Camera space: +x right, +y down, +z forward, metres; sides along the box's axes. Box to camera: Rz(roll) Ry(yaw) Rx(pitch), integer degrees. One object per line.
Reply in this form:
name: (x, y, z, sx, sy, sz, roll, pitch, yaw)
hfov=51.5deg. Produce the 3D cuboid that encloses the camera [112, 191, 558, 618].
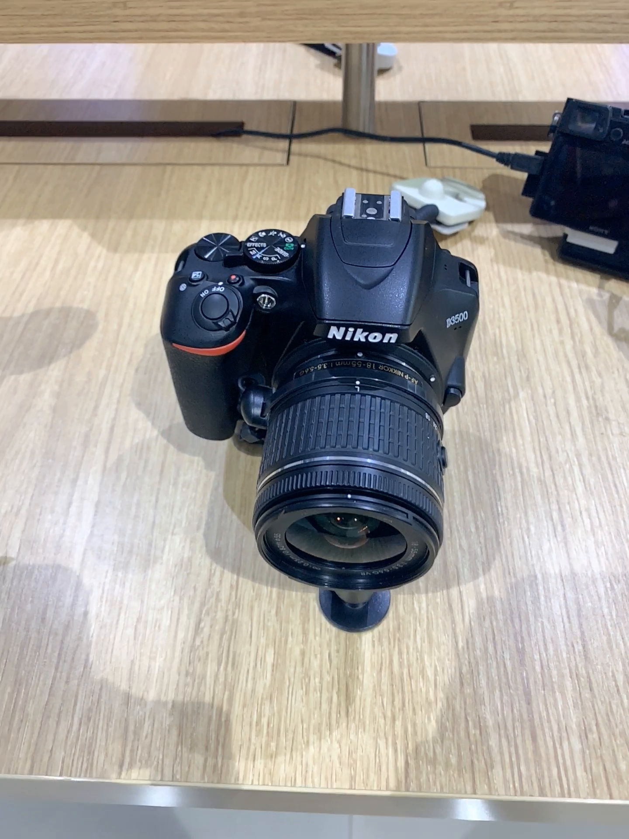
camera: (0.008, -0.004, 0.217, 0.102, 0.091, 0.104, 2, 52, 3)
